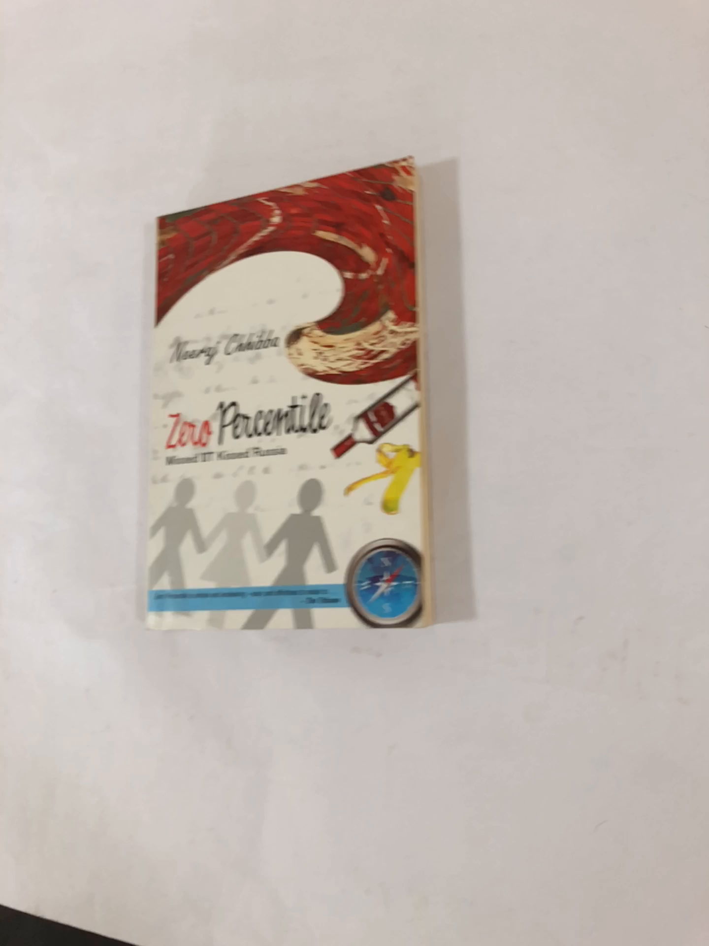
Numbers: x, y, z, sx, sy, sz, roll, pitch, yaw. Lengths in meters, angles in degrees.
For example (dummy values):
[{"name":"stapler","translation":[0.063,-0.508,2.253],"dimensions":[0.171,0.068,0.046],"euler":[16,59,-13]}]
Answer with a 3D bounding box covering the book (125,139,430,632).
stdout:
[{"name":"book","translation":[-0.035,-0.033,0.347],"dimensions":[0.132,0.021,0.200],"euler":[-4,80,23]}]
